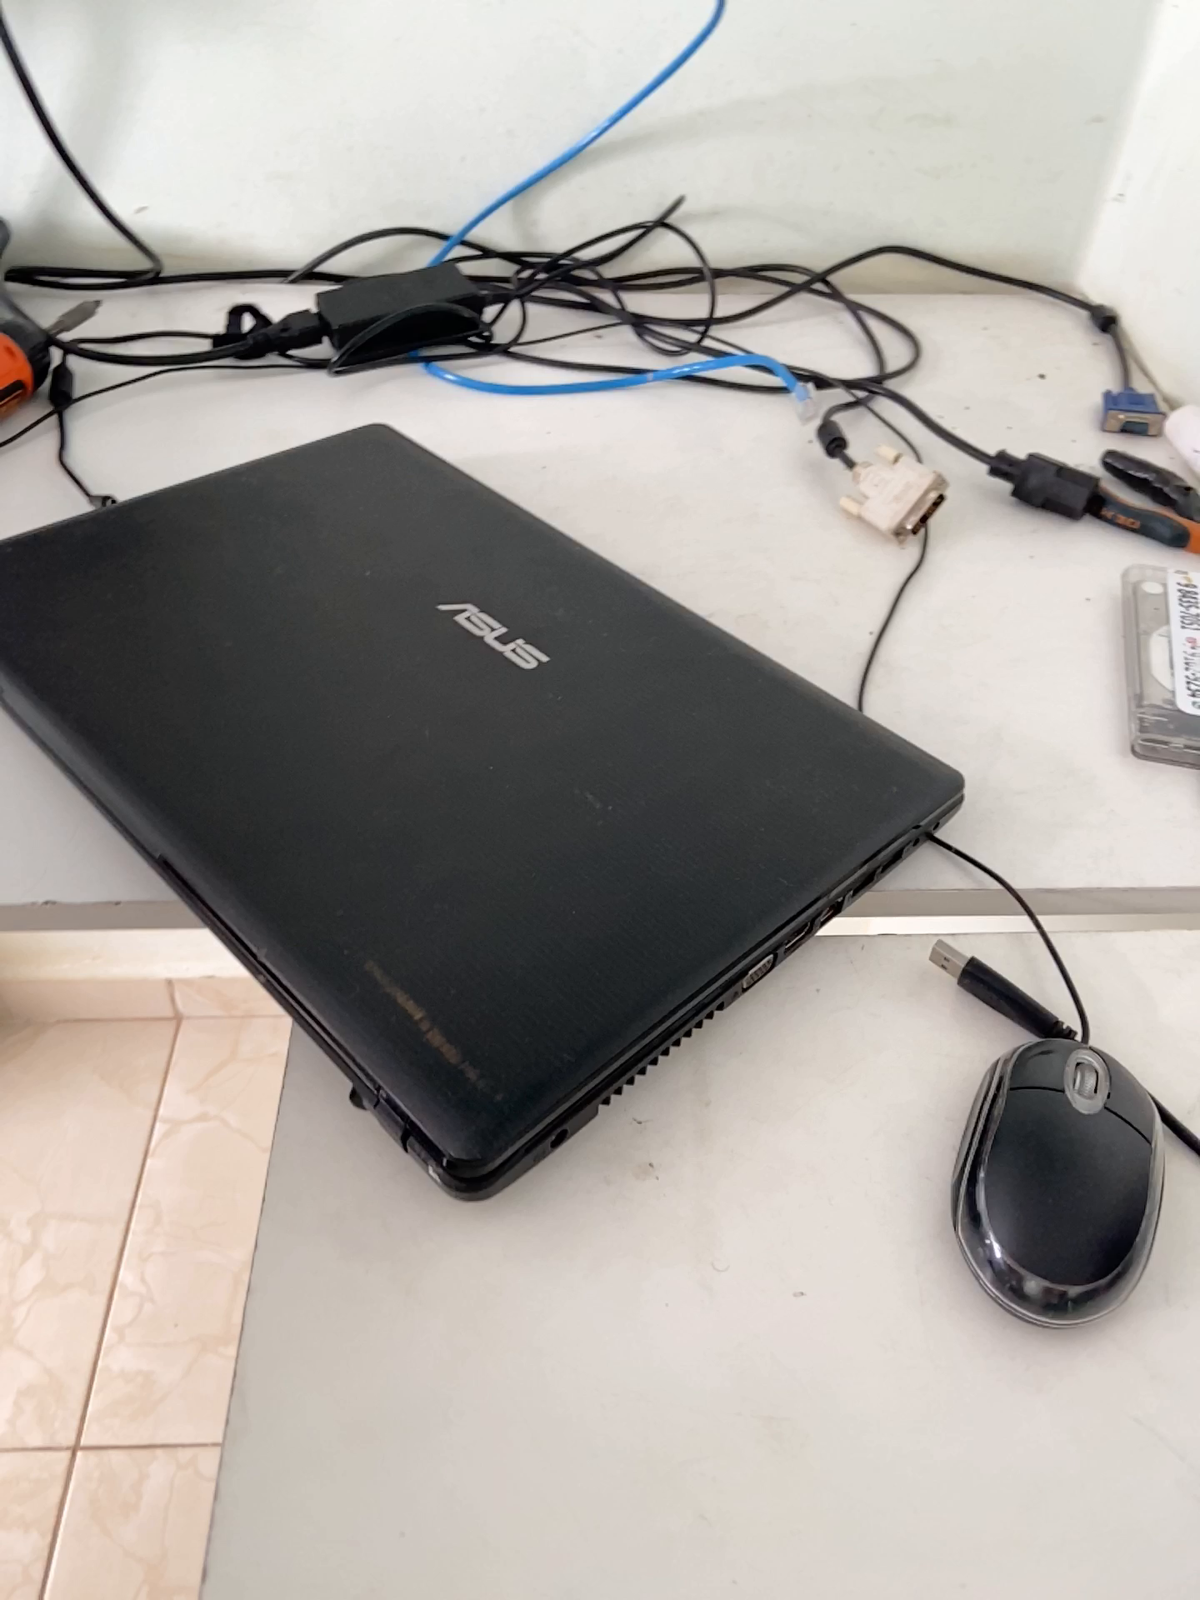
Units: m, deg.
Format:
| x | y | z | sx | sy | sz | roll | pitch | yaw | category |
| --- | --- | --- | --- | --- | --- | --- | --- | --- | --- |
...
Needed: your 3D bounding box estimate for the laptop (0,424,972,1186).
| x | y | z | sx | sy | sz | roll | pitch | yaw | category |
| --- | --- | --- | --- | --- | --- | --- | --- | --- | --- |
| -0.077 | -0.049 | 0.510 | 0.253 | 0.010 | 0.381 | -31 | 53 | -33 | laptop |
